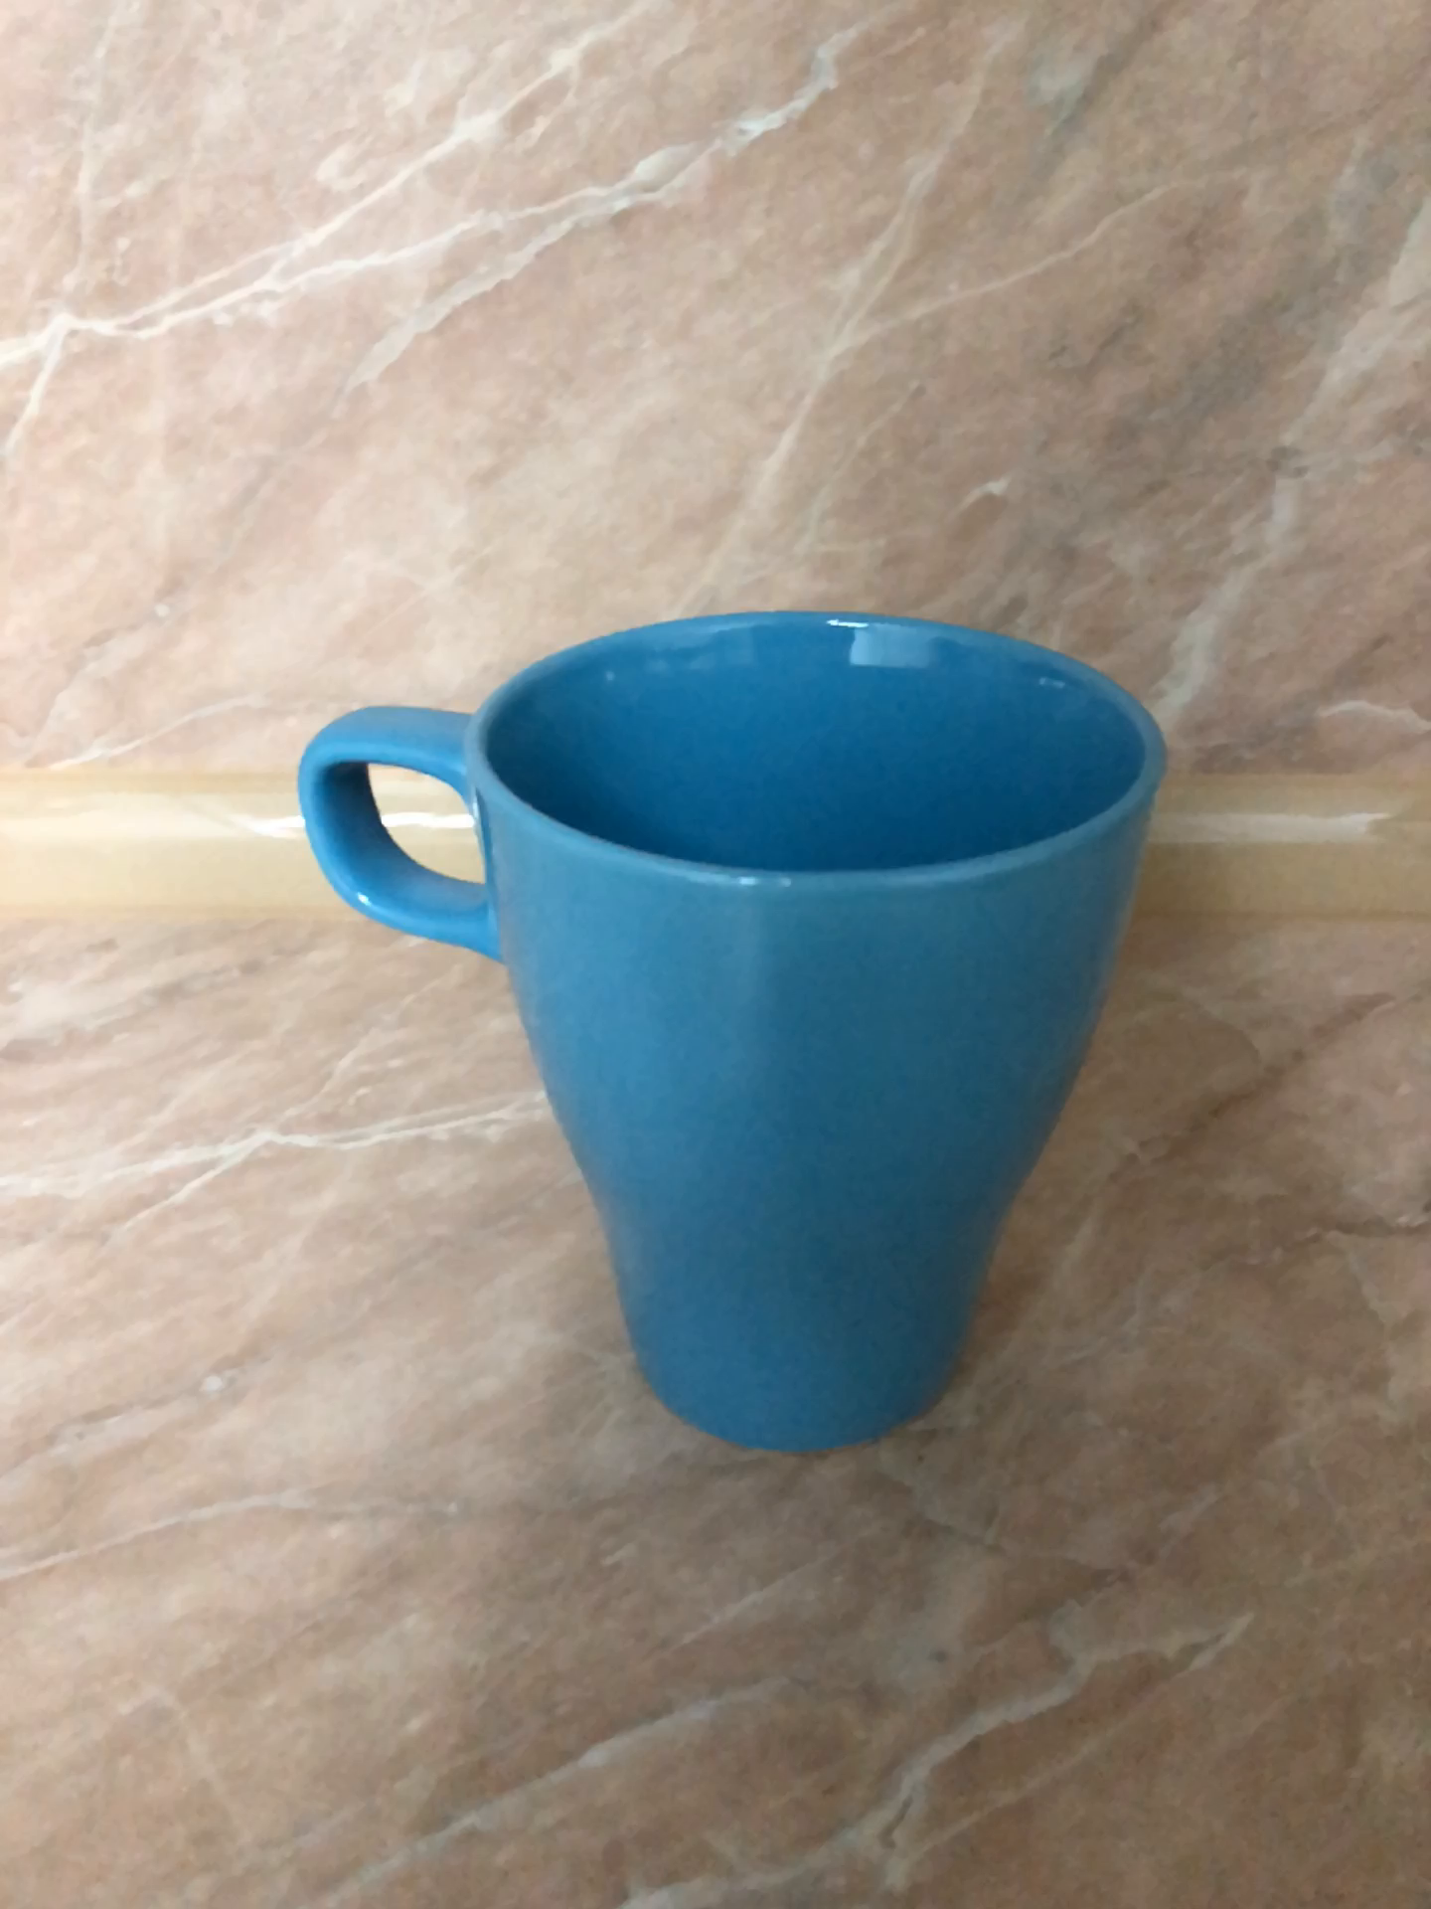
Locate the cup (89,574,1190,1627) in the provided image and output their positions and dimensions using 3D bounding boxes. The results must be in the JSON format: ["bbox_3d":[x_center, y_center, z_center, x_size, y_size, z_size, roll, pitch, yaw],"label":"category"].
[{"bbox_3d":[-0.005,0.010,0.221,0.111,0.089,0.086,13,33,22],"label":"cup"}]
